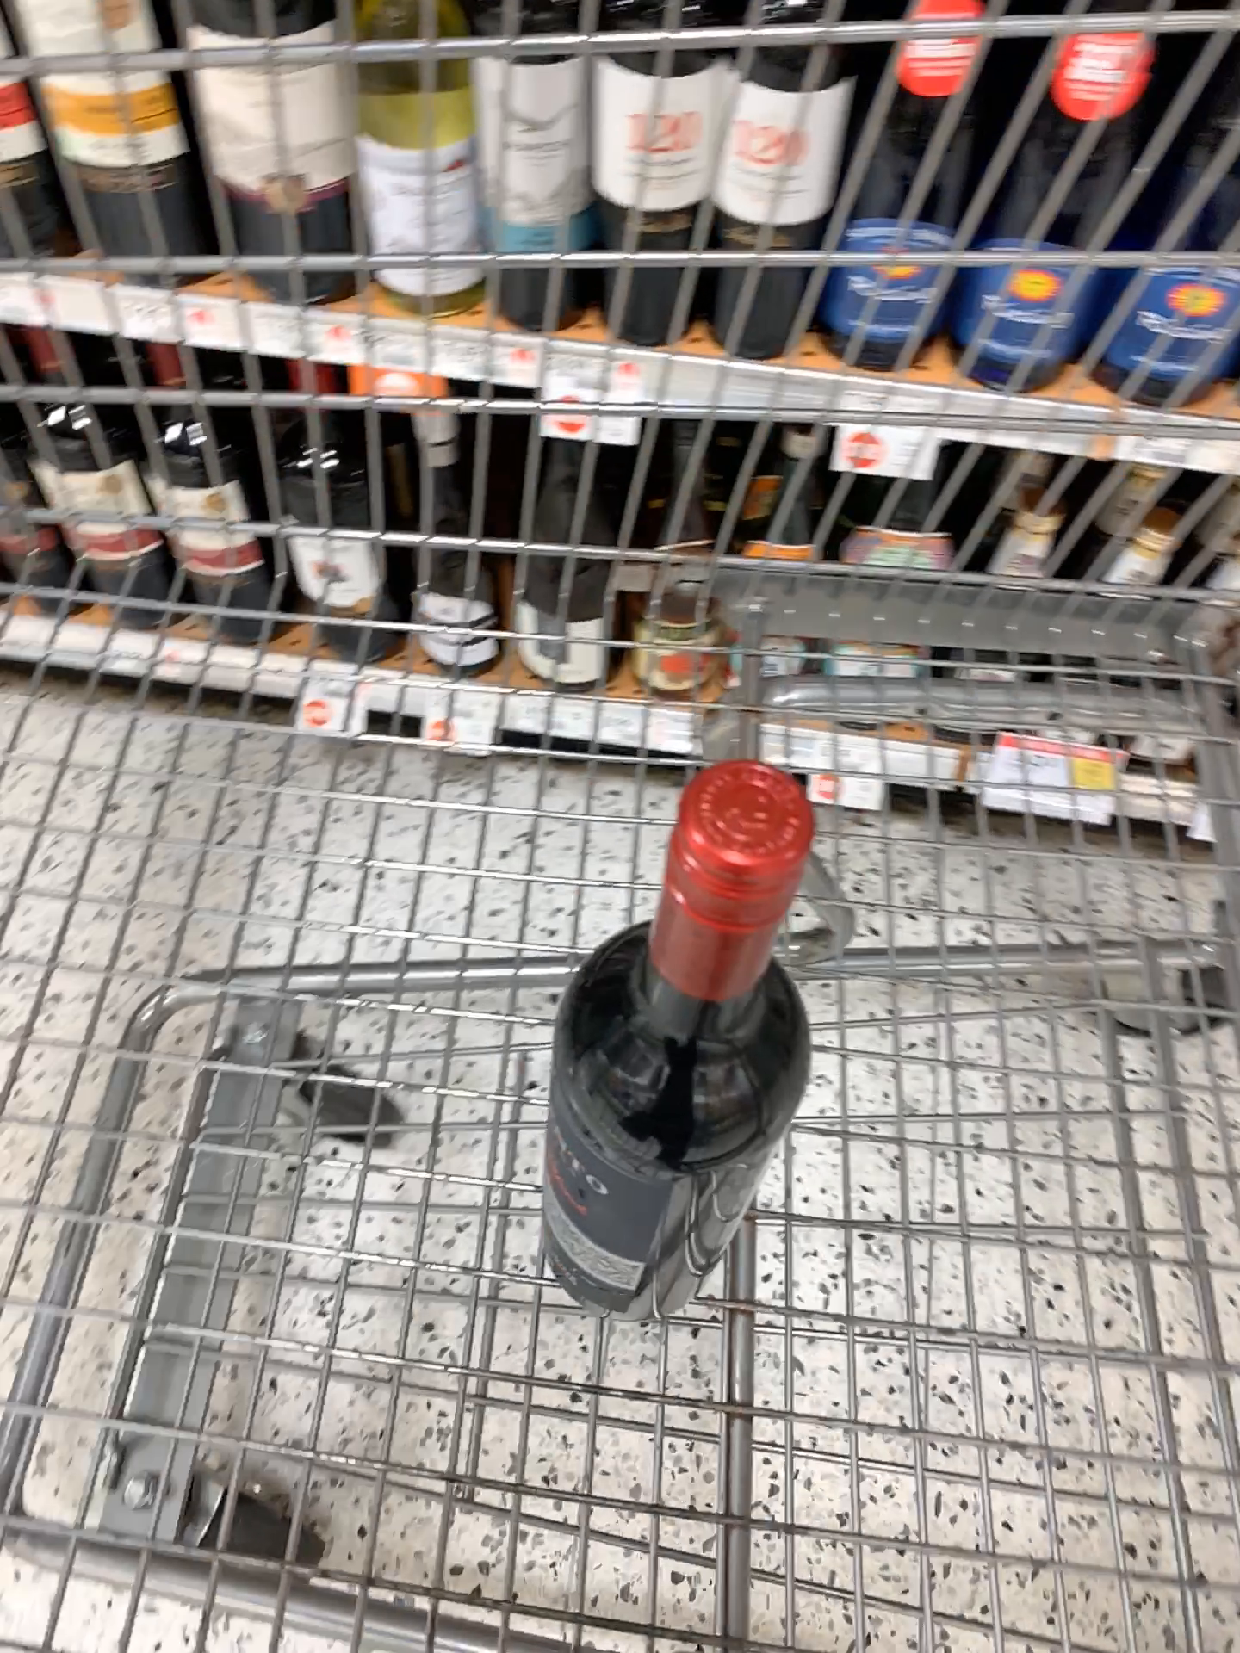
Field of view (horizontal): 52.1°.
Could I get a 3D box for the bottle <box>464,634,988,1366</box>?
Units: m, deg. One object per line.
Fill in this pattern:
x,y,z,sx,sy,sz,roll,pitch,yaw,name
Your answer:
0.013,0.089,0.410,0.100,0.337,0.101,1,58,-1,bottle
